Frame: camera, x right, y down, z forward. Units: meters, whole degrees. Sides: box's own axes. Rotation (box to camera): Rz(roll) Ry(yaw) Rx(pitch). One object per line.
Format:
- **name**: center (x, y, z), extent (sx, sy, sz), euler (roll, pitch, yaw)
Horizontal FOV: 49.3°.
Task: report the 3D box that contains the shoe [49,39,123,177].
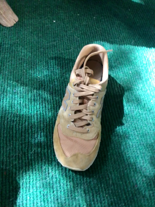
- **shoe**: center (0.025, 0.005, 0.357), extent (0.110, 0.100, 0.261), euler (9, 64, -1)
